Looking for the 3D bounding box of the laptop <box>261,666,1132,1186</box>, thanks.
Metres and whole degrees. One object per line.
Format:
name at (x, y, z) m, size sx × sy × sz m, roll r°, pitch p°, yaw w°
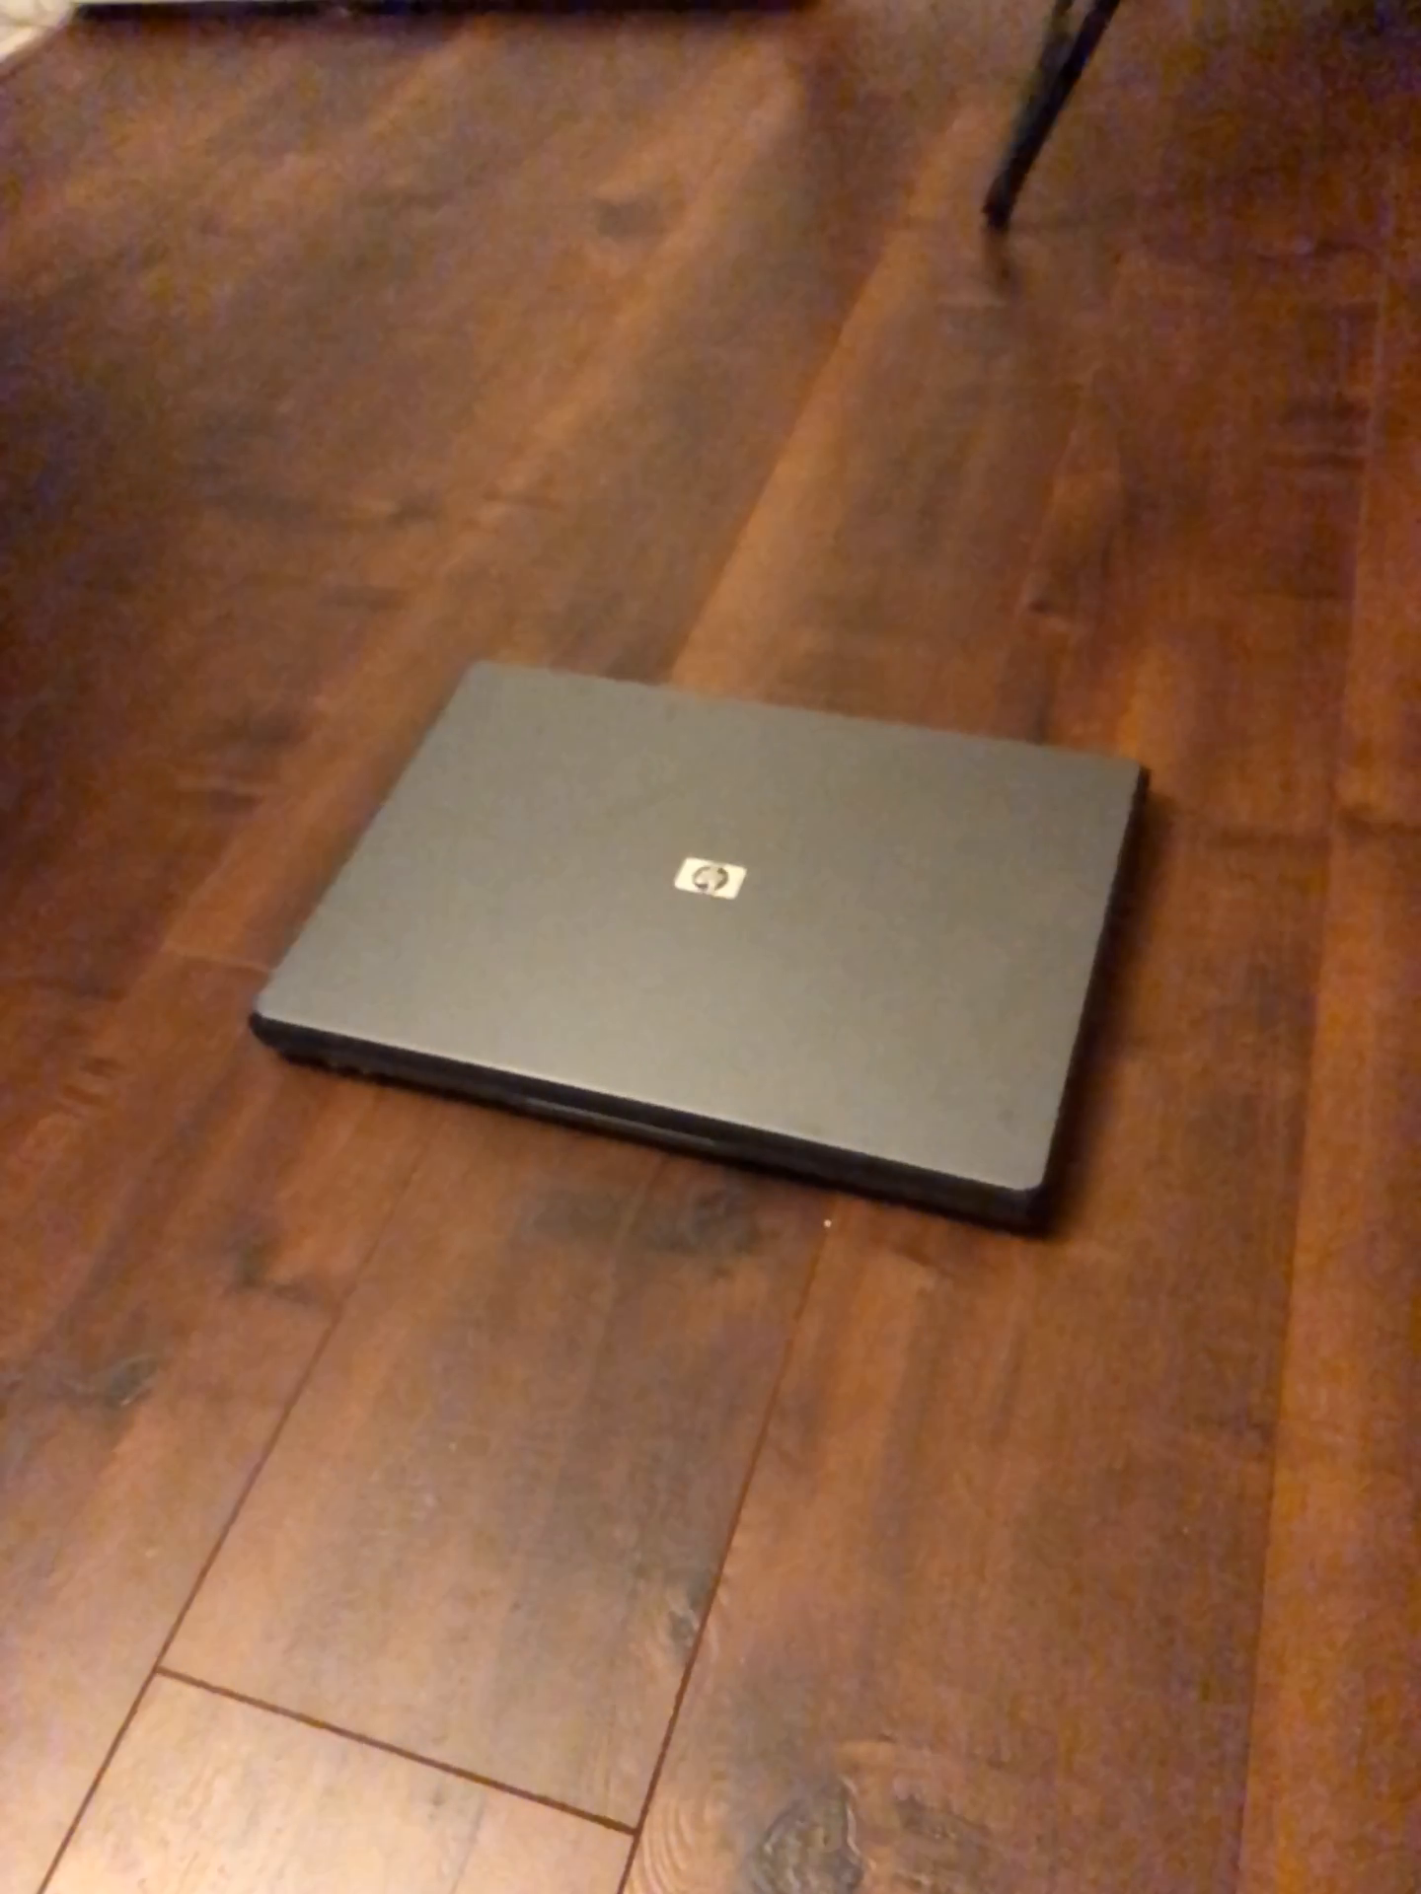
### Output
laptop at (0.001, -0.026, 0.659) m, size 0.310 × 0.005 × 0.217 m, roll 11°, pitch 52°, yaw 16°
